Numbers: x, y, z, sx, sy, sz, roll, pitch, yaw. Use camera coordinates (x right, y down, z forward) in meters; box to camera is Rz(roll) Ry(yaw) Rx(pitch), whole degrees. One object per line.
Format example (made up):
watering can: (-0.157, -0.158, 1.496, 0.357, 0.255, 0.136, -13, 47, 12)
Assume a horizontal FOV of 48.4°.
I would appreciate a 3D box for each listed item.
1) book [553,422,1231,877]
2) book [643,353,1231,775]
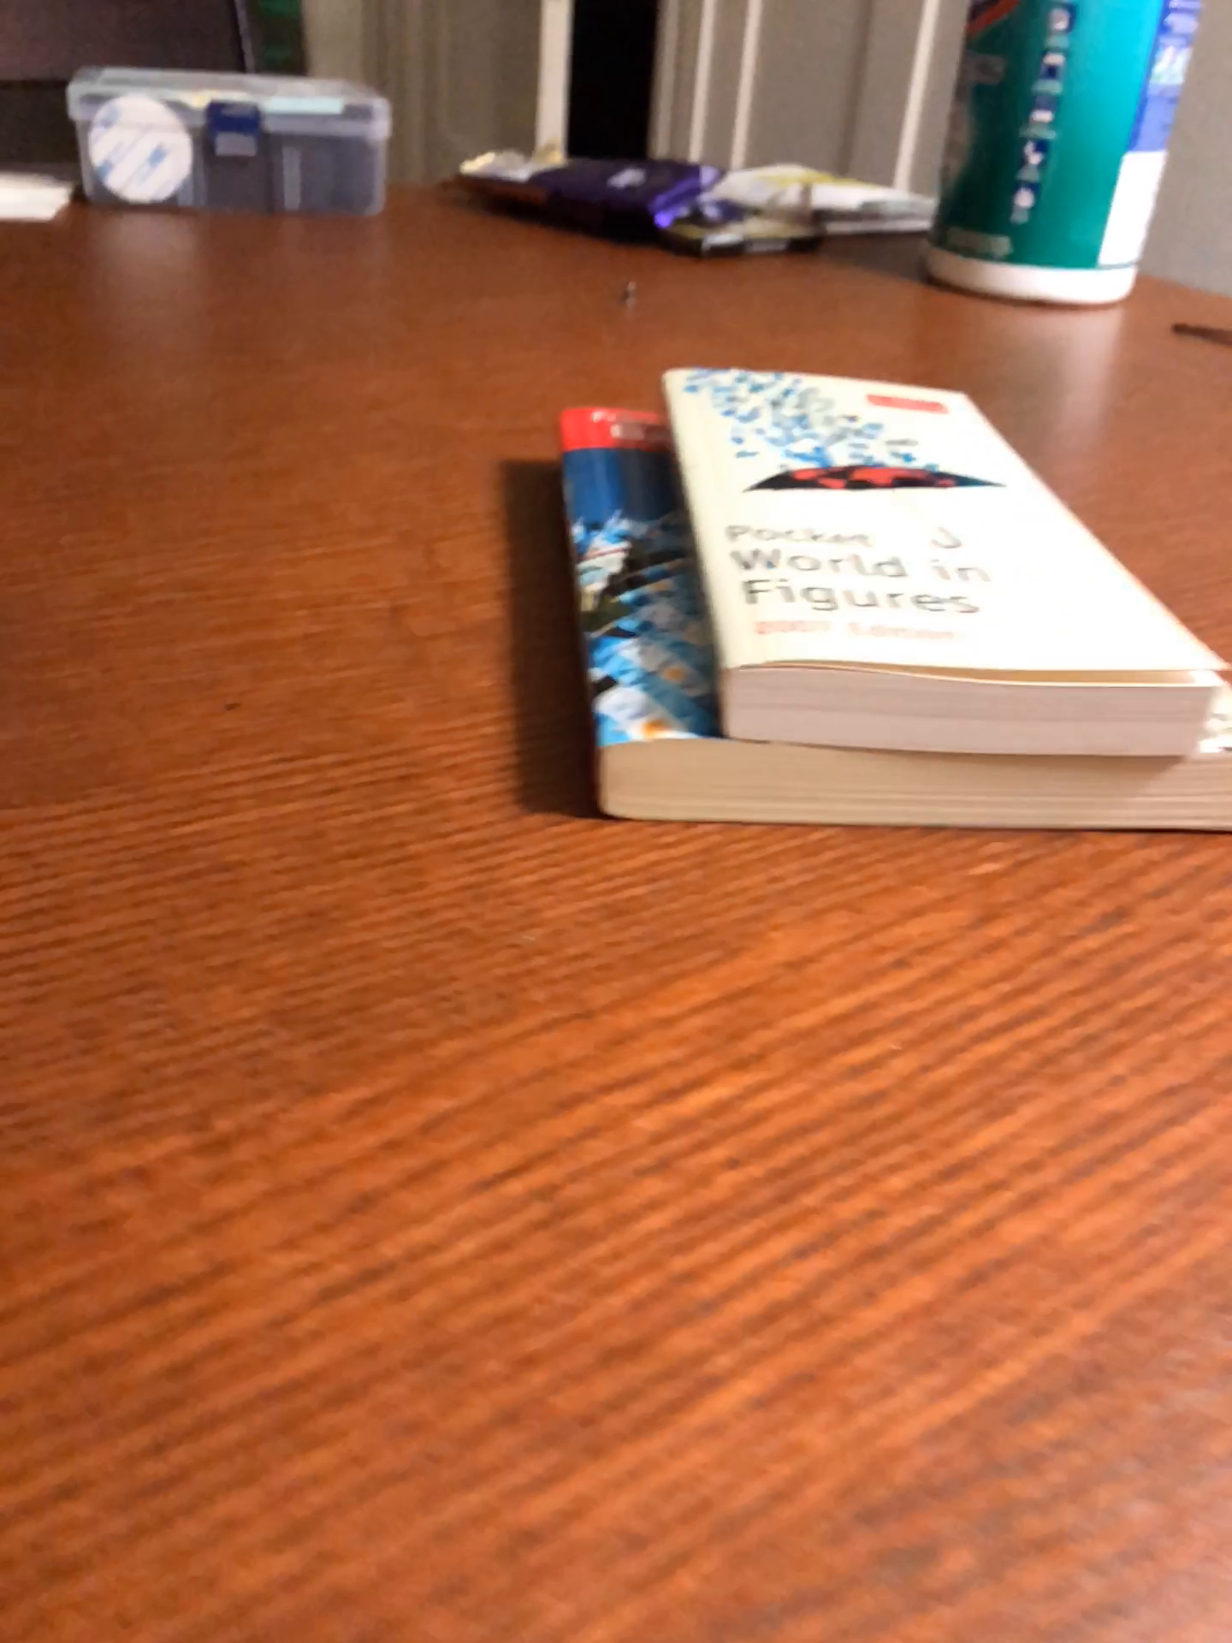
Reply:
book: (0.058, -0.056, 0.344, 0.140, 0.020, 0.211, 2, 32, -5)
book: (0.061, -0.073, 0.325, 0.100, 0.020, 0.201, 3, 32, -4)
